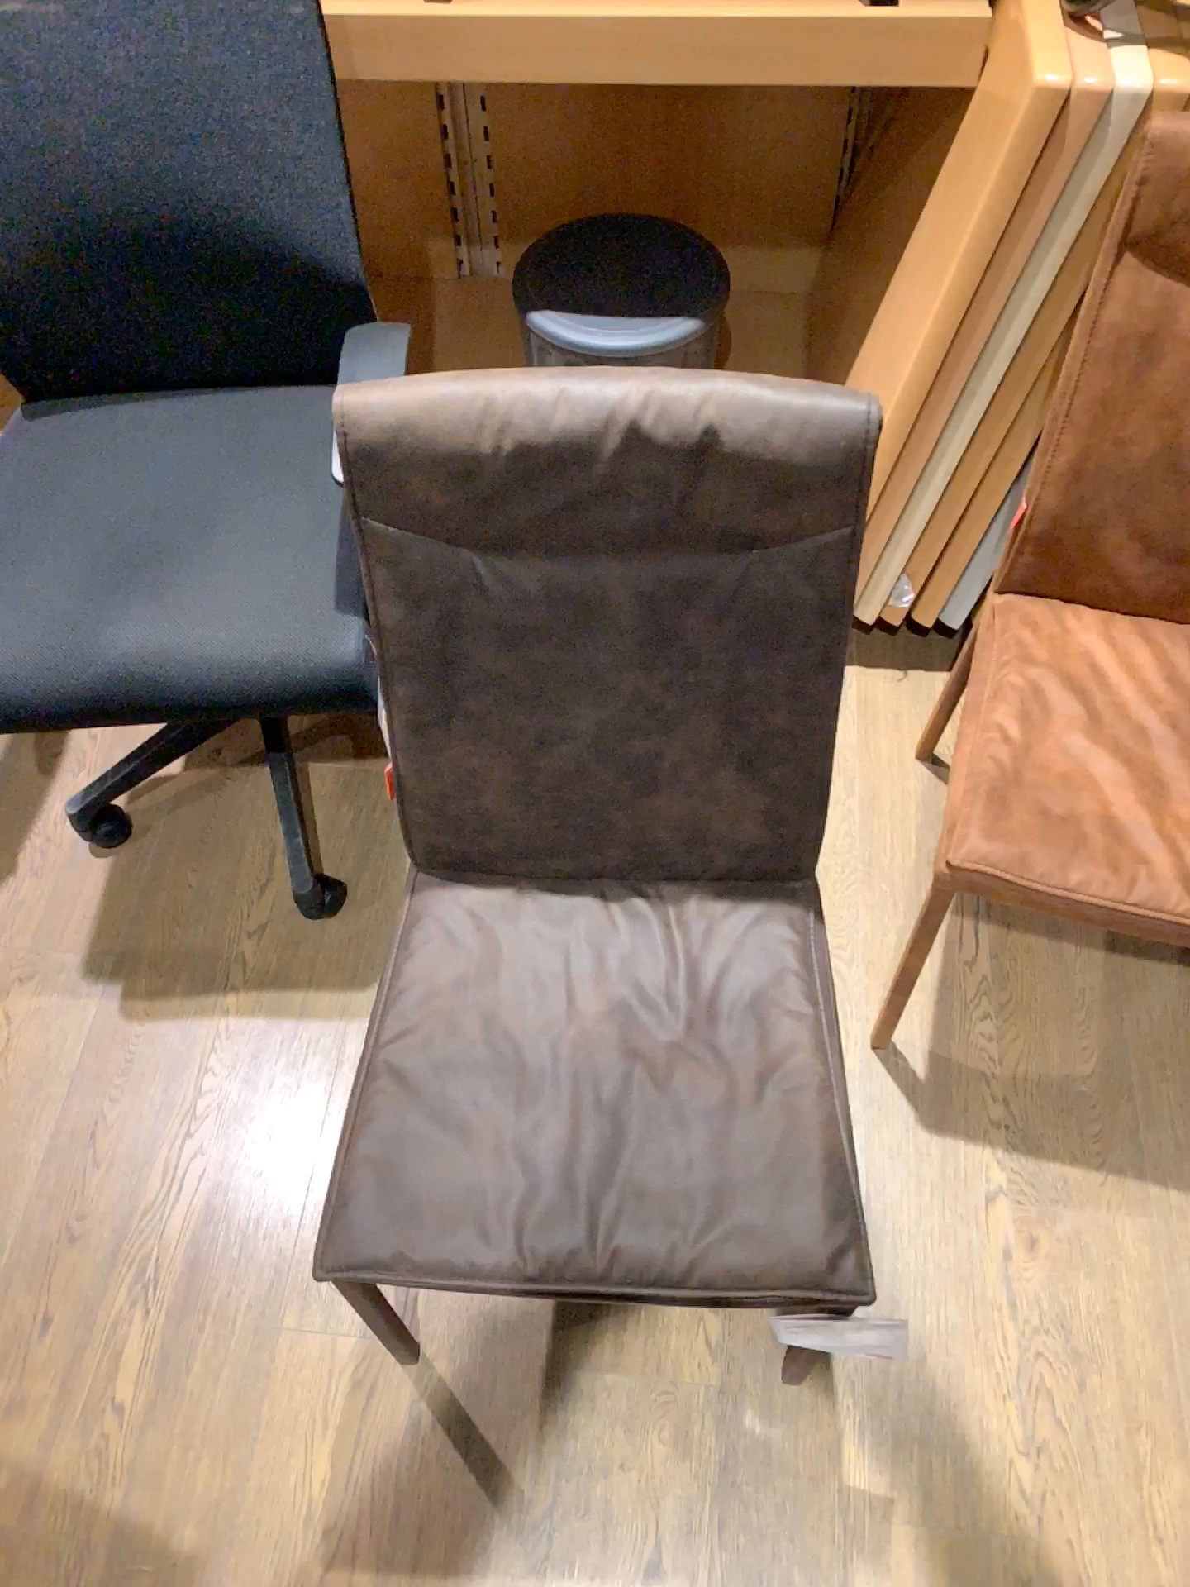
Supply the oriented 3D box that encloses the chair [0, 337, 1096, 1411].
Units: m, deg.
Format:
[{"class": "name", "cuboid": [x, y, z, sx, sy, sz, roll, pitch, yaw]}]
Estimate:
[{"class": "chair", "cuboid": [-0.007, 0.166, 1.047, 0.500, 0.908, 0.521, 3, 56, 4]}]
